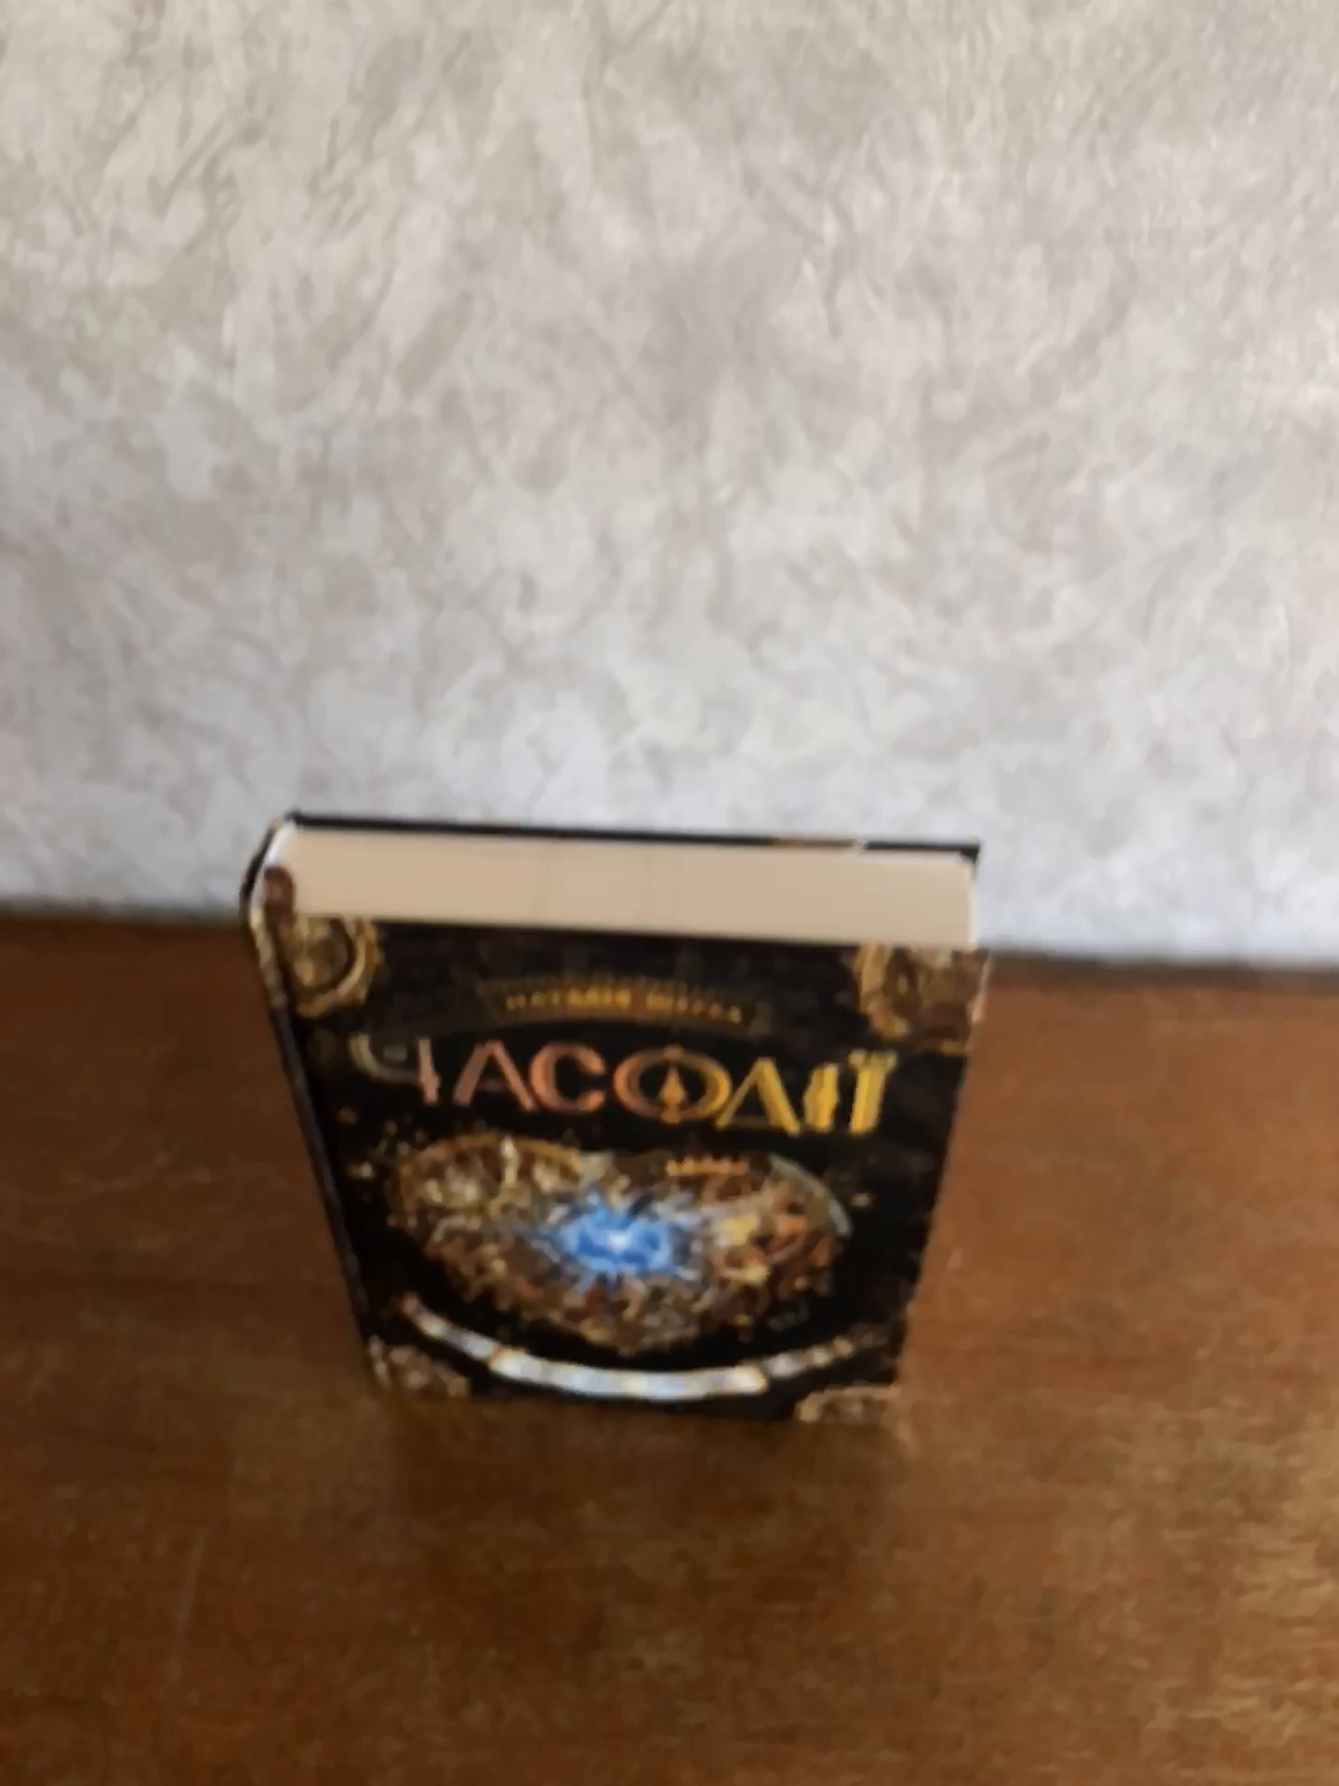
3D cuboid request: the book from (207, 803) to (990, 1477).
[{"bbox_3d":[-0.014,0.080,0.409,0.166,0.227,0.042,3,43,3],"label":"book"}]
